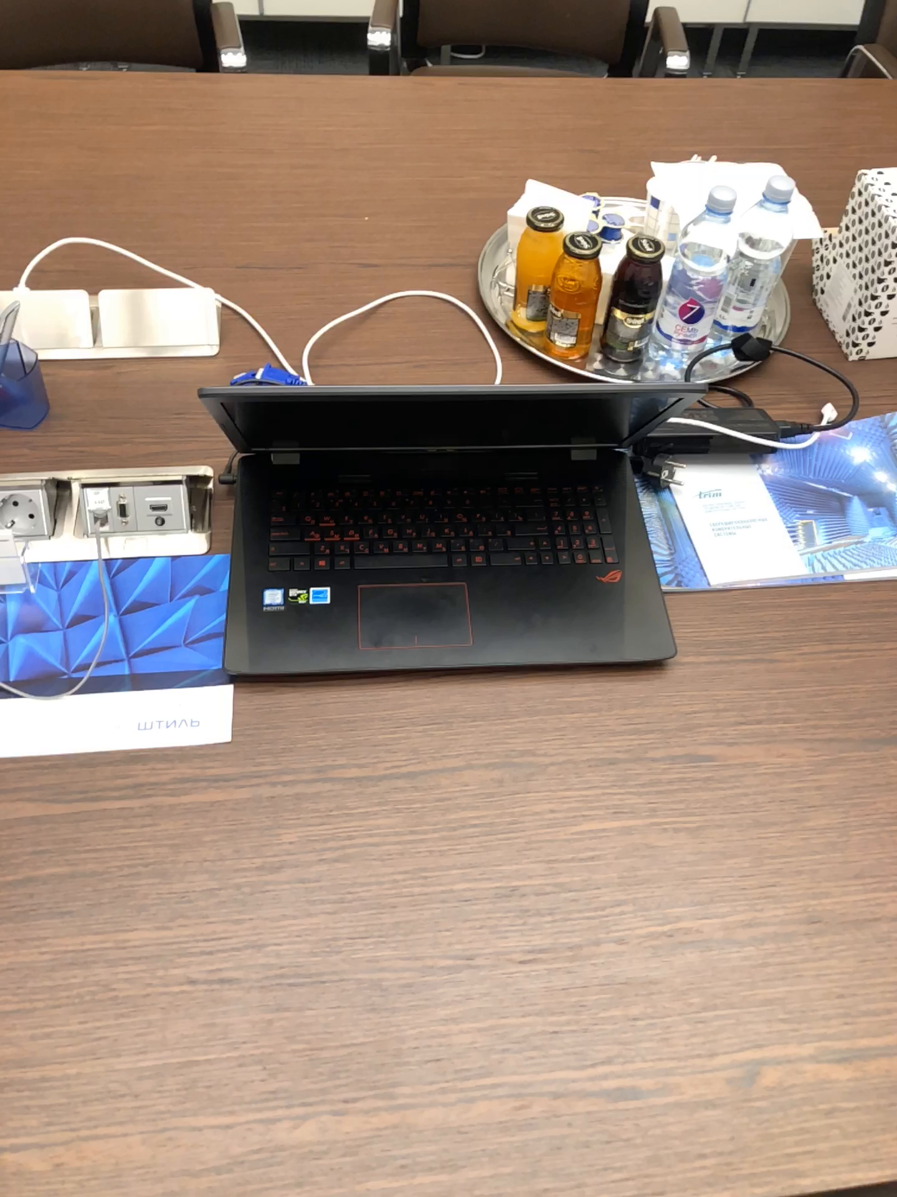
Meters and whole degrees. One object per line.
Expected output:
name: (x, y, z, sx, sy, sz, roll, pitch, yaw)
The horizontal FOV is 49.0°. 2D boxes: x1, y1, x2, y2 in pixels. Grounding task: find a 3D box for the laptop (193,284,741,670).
laptop: (0.003, -0.102, 0.815, 0.376, 0.189, 0.238, -1, 54, -5)
